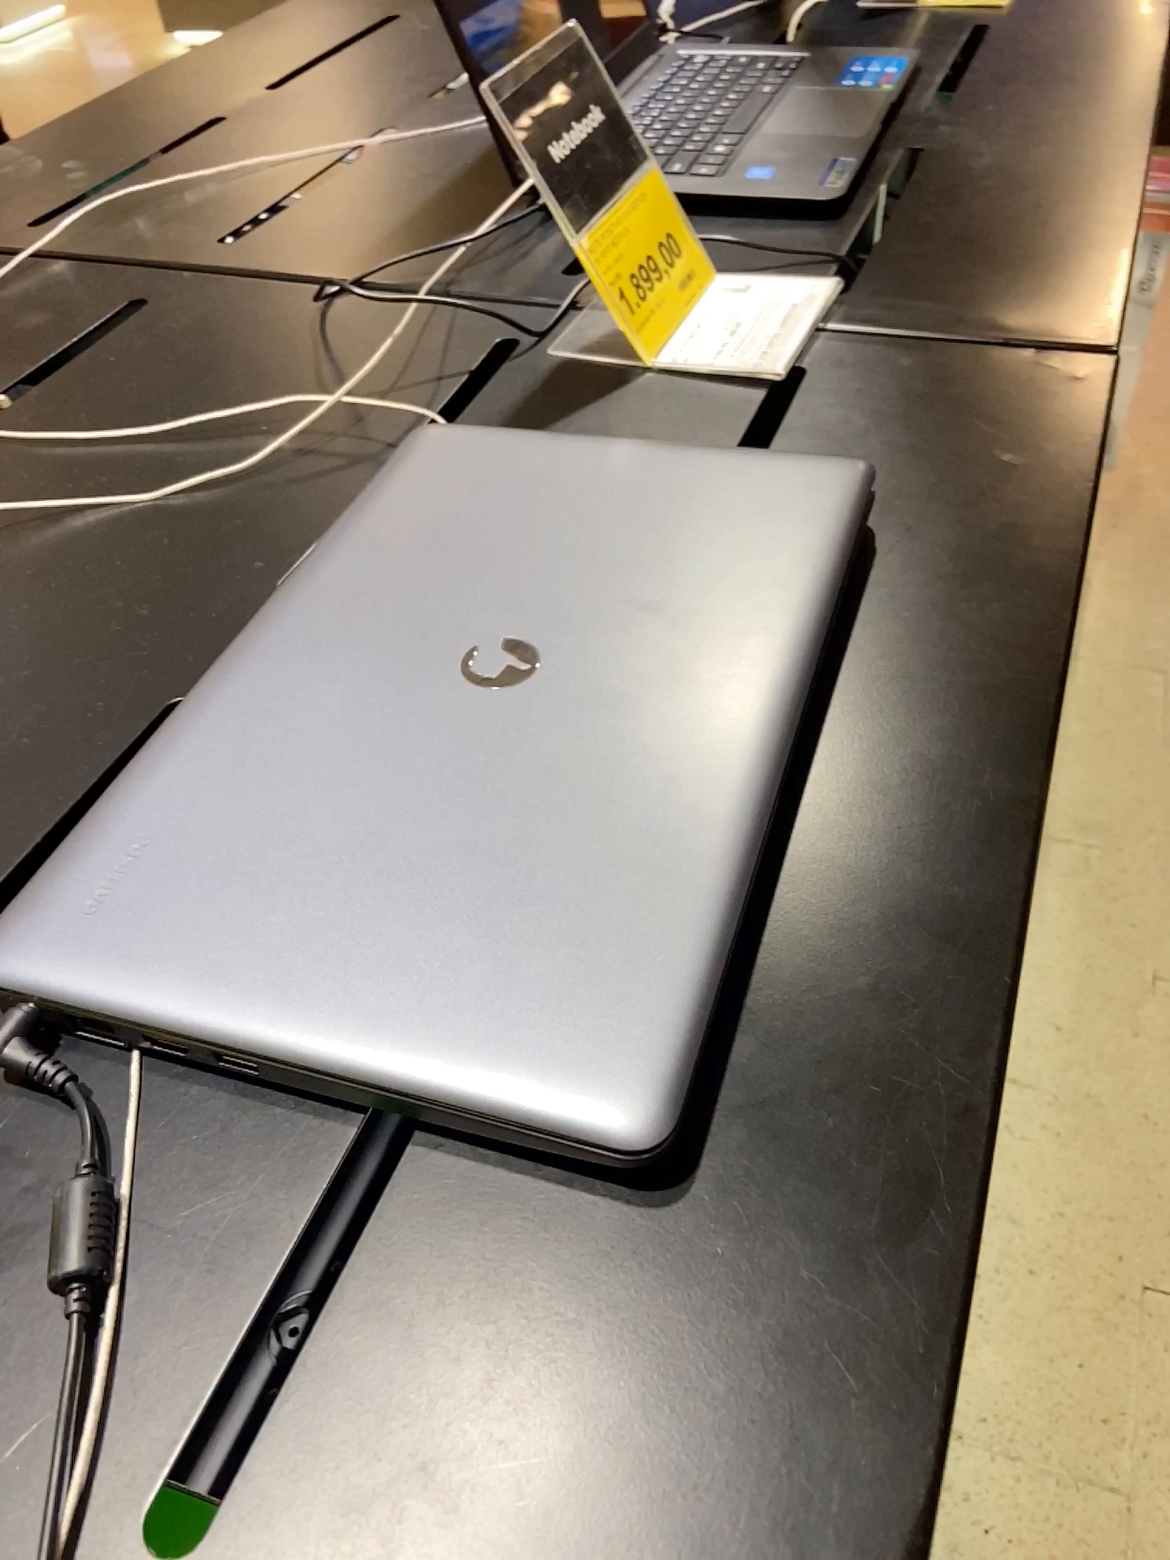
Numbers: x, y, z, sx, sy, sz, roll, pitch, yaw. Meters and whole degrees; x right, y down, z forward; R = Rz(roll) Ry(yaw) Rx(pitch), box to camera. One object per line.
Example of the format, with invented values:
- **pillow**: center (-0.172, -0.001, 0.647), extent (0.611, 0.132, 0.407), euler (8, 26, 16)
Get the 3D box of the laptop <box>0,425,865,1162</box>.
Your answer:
- **laptop**: center (-0.033, -0.038, 0.436), extent (0.212, 0.001, 0.331), euler (10, 47, 17)
